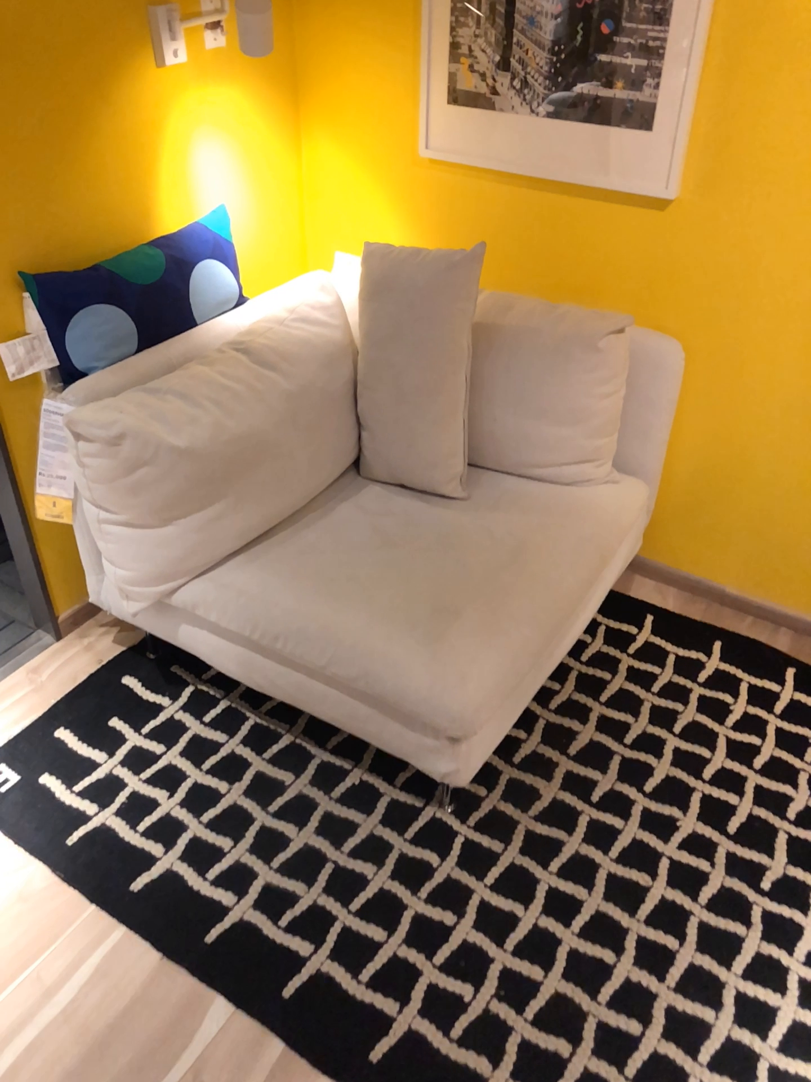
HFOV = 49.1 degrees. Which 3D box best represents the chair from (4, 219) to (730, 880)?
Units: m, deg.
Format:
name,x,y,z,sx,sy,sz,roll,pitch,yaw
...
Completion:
name,x,y,z,sx,sy,sz,roll,pitch,yaw
chair,-0.015,-0.123,2.010,1.012,0.754,1.115,21,40,26
